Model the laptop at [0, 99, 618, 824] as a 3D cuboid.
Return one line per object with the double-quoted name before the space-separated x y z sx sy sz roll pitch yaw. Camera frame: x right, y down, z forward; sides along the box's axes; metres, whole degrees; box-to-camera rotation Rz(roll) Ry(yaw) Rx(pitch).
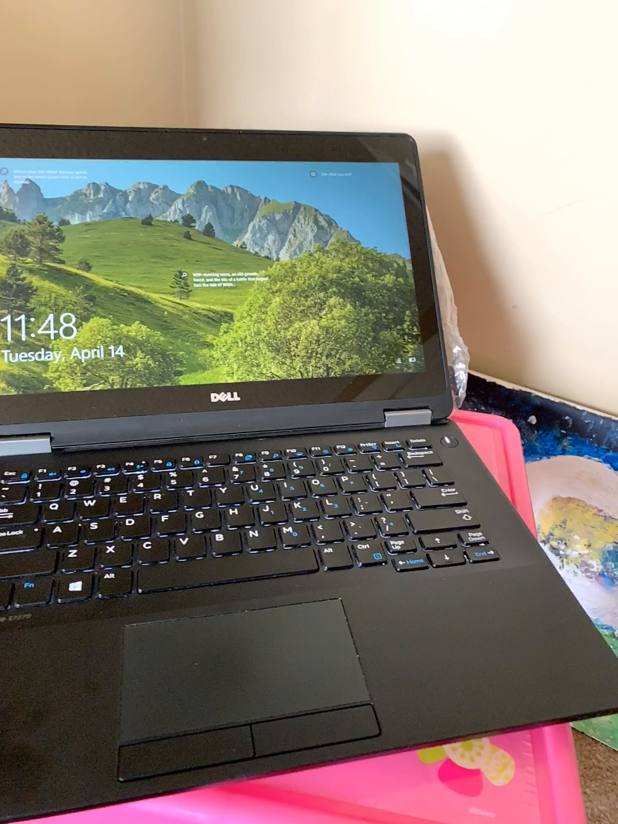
"laptop" -0.039 -0.031 0.290 0.261 0.121 0.303 -4 39 -13
